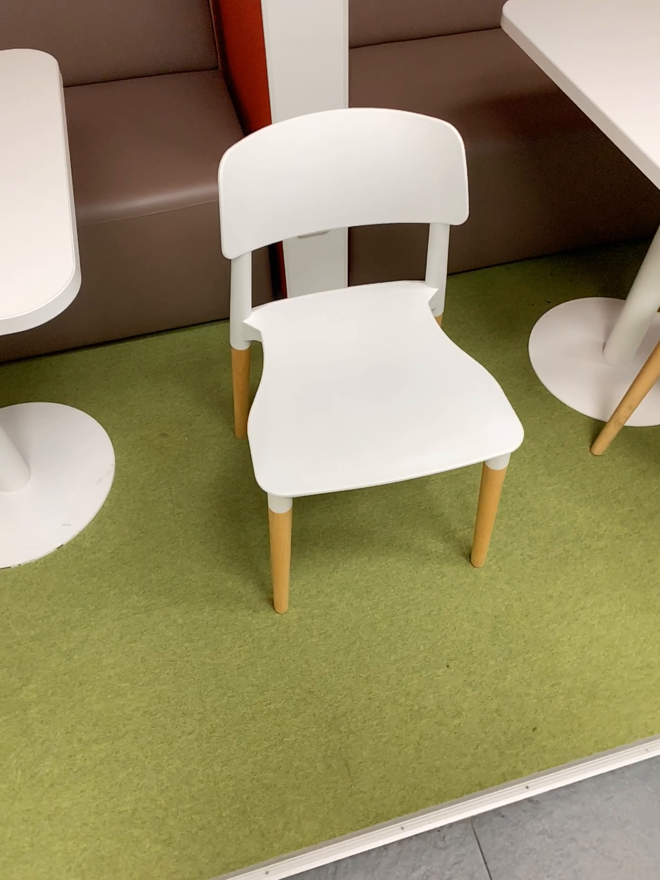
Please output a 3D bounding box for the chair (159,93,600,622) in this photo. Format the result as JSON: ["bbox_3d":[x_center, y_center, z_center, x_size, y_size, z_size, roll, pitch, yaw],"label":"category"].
[{"bbox_3d":[0.034,-0.100,1.254,0.500,0.787,0.502,-11,54,-7],"label":"chair"}]
